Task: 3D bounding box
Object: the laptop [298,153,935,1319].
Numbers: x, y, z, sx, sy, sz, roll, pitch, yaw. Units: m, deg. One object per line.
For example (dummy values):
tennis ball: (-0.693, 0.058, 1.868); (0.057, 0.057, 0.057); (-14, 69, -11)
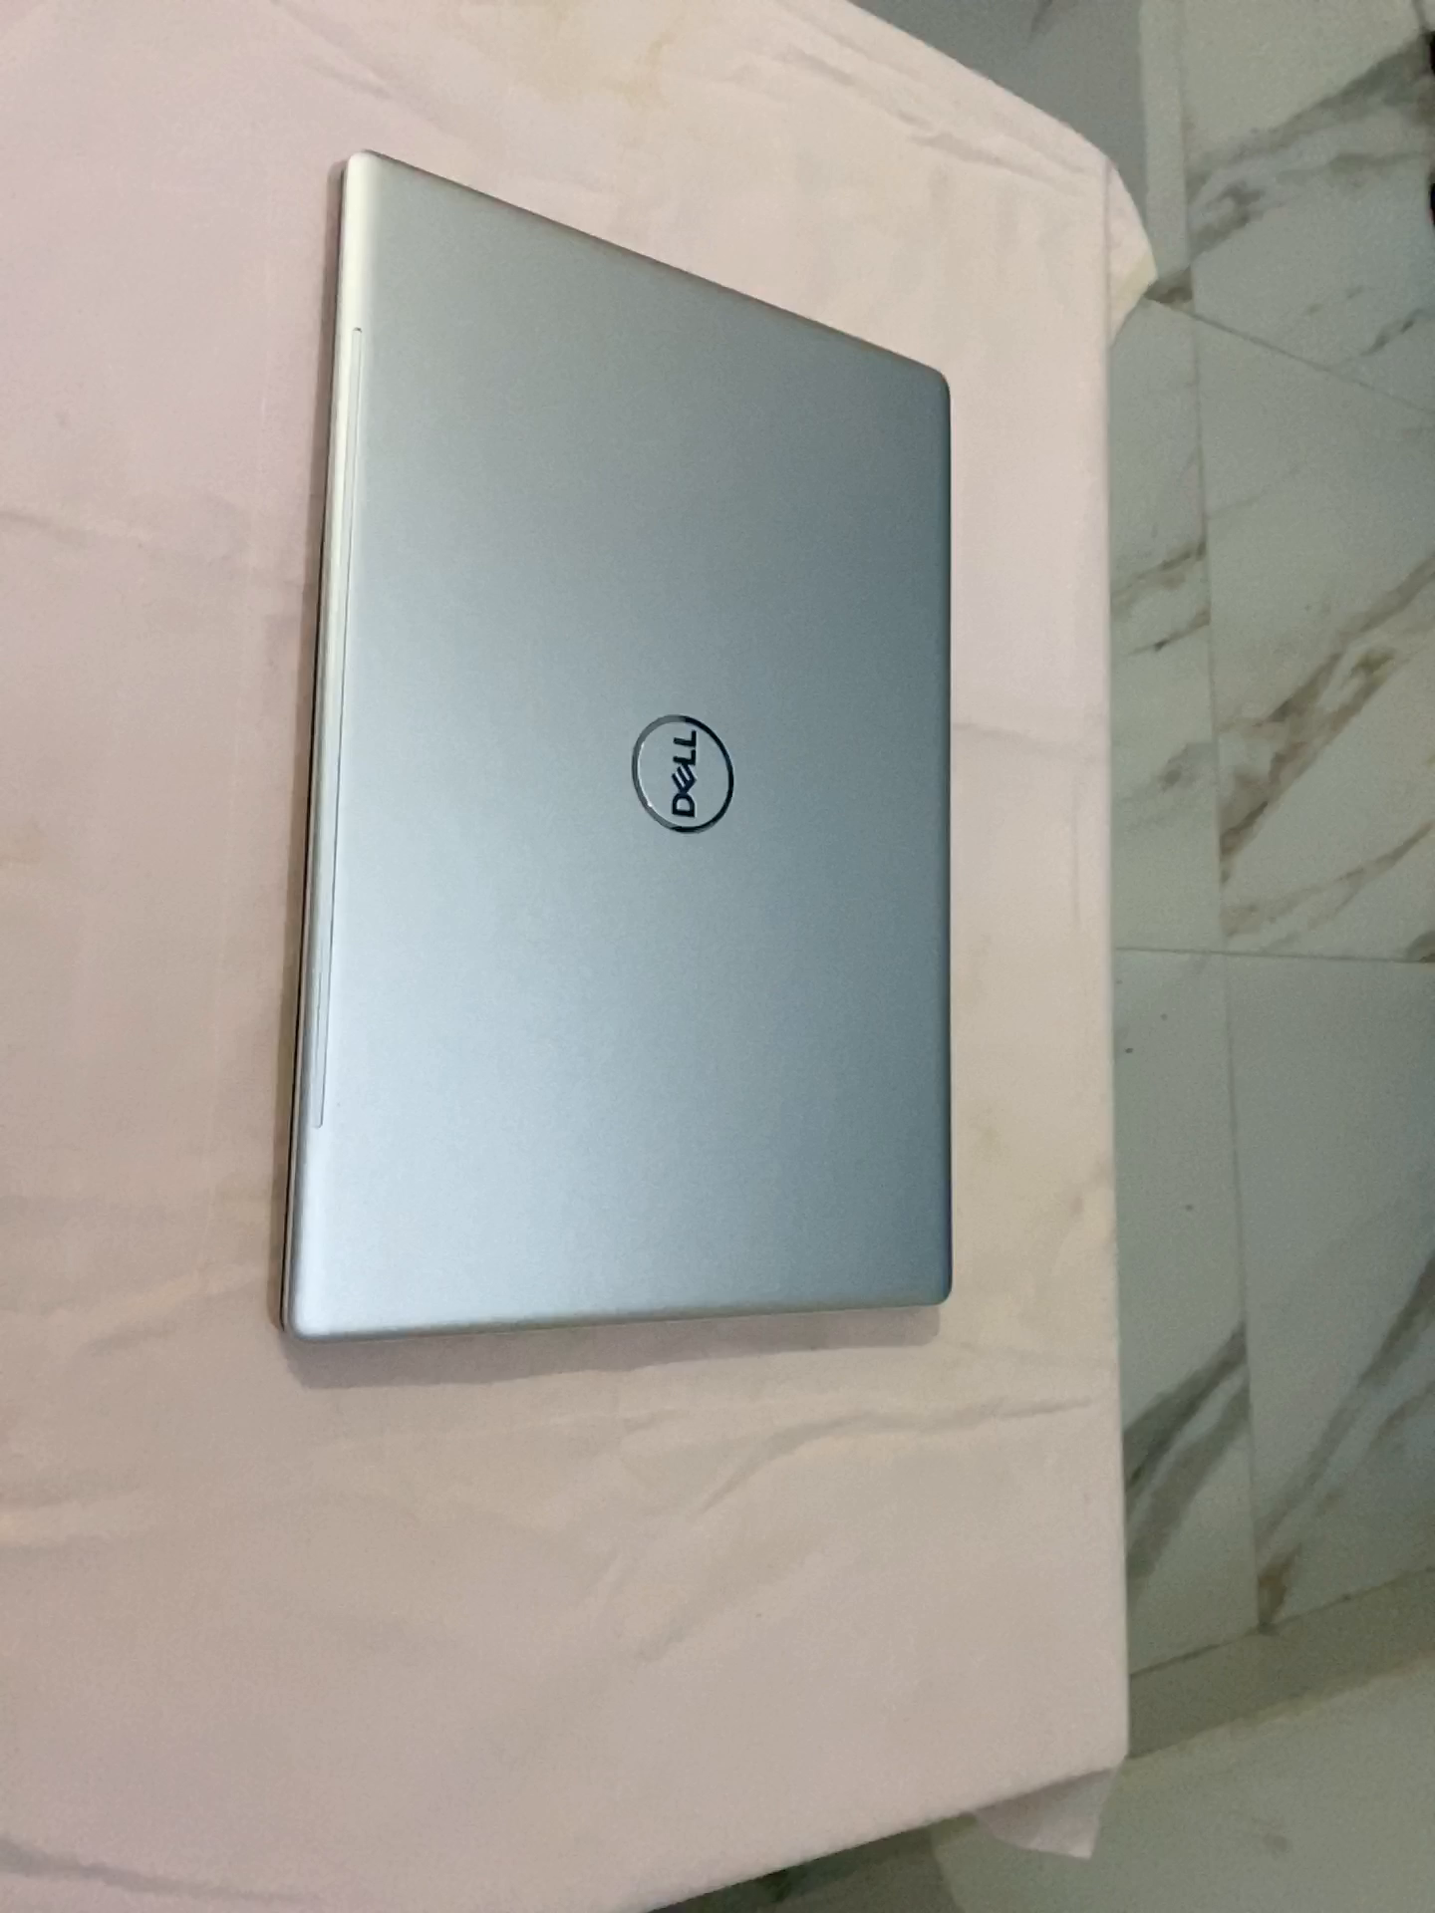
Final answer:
laptop: (-0.018, -0.064, 0.504); (0.237, 0.004, 0.359); (5, 82, -32)
